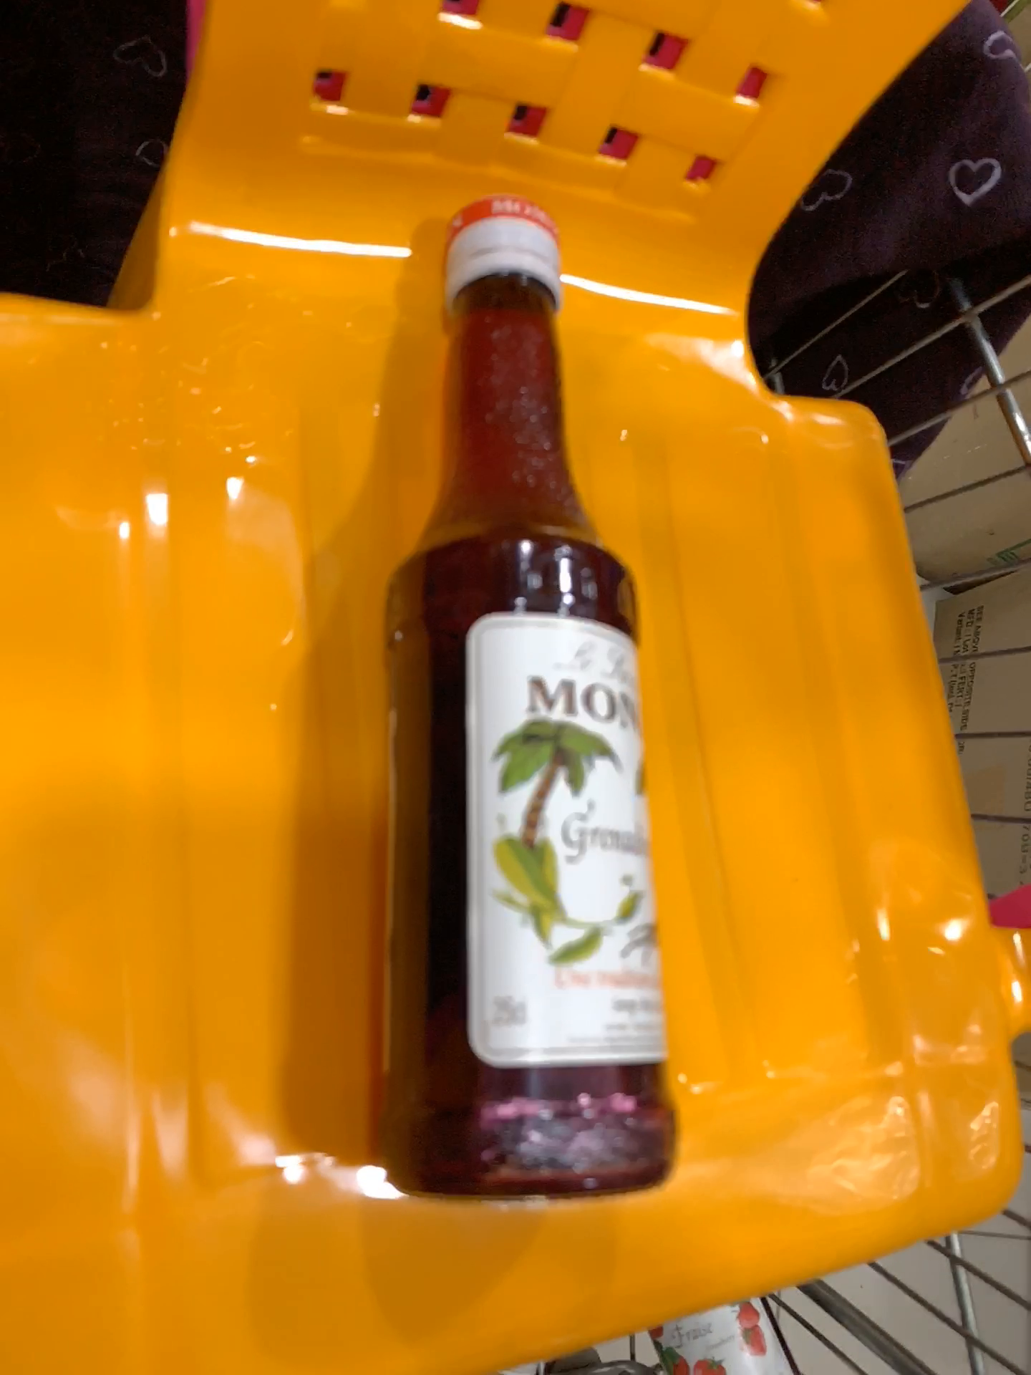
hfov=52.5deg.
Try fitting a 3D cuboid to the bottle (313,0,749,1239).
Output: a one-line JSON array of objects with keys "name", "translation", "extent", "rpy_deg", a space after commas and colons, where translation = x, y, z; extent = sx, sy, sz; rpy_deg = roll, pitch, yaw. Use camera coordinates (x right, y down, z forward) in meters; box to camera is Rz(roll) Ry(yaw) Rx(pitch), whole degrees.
[{"name": "bottle", "translation": [0.000, -0.025, 0.219], "extent": [0.060, 0.050, 0.240], "rpy_deg": [25, 57, -53]}]
